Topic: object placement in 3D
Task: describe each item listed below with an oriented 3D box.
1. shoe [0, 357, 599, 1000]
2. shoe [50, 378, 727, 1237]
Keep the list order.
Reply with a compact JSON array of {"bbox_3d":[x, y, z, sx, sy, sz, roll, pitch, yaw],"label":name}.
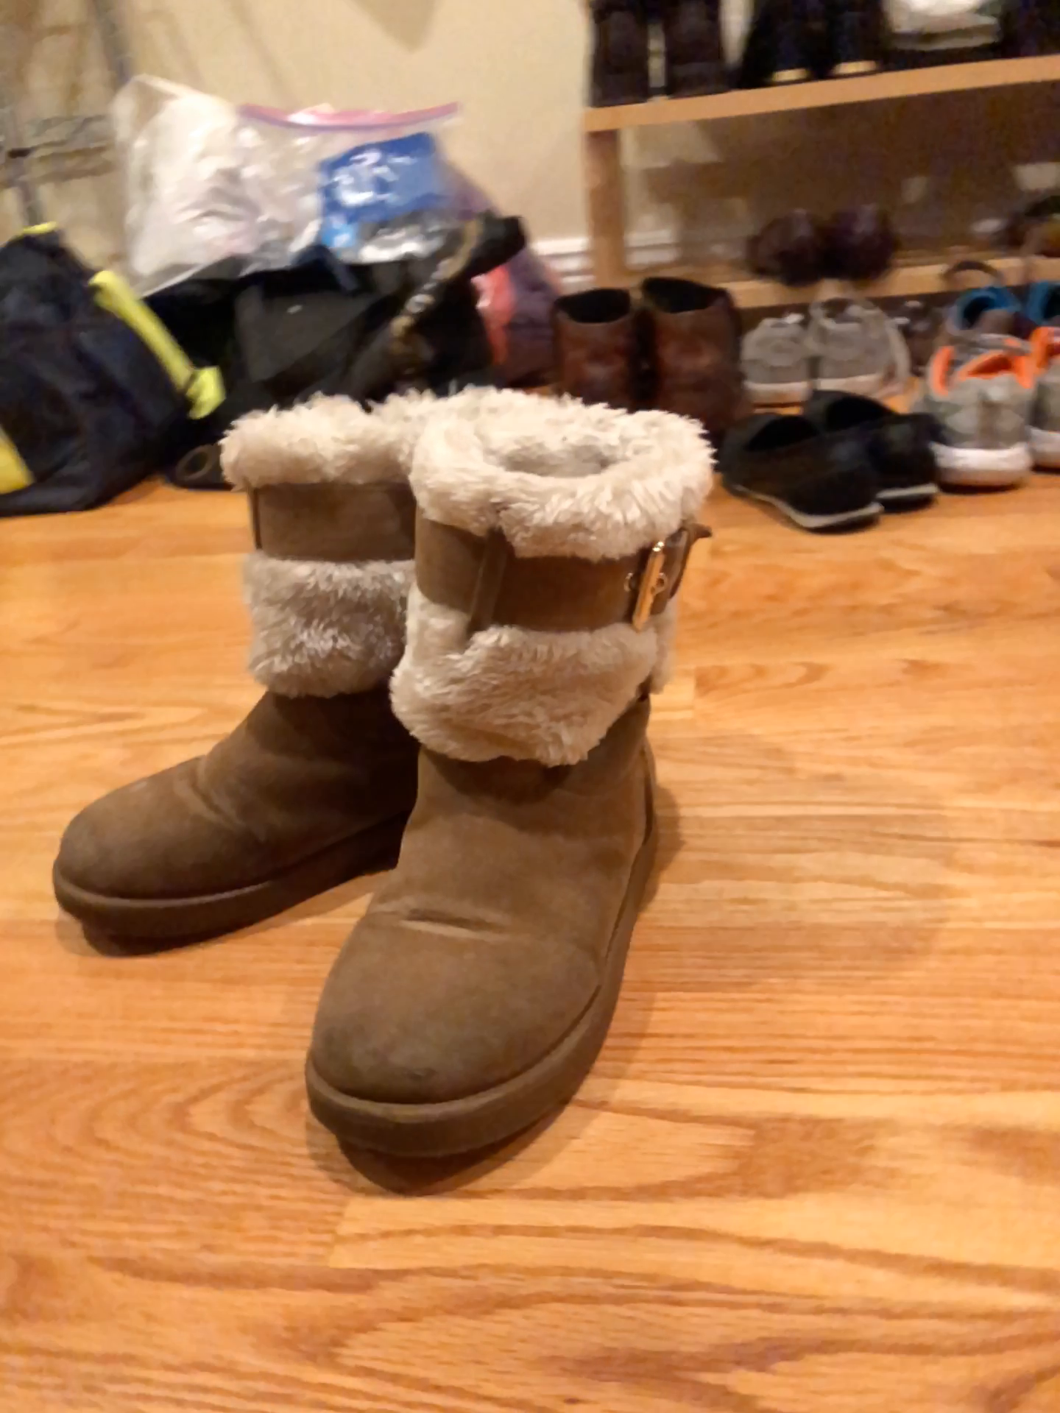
[{"bbox_3d":[-0.113,-0.026,0.512,0.254,0.193,0.107,-18,28,-22],"label":"shoe"},{"bbox_3d":[-0.015,0.008,0.426,0.113,0.193,0.255,4,28,22],"label":"shoe"}]
